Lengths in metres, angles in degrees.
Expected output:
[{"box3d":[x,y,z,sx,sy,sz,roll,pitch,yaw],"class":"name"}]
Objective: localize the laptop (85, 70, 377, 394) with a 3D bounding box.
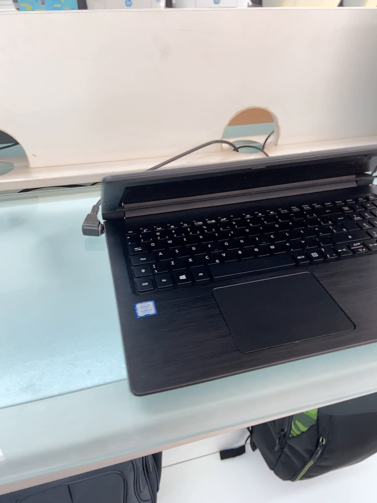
[{"box3d":[0.108,-0.055,0.361,0.367,0.142,0.233,-10,37,-12],"class":"laptop"}]
